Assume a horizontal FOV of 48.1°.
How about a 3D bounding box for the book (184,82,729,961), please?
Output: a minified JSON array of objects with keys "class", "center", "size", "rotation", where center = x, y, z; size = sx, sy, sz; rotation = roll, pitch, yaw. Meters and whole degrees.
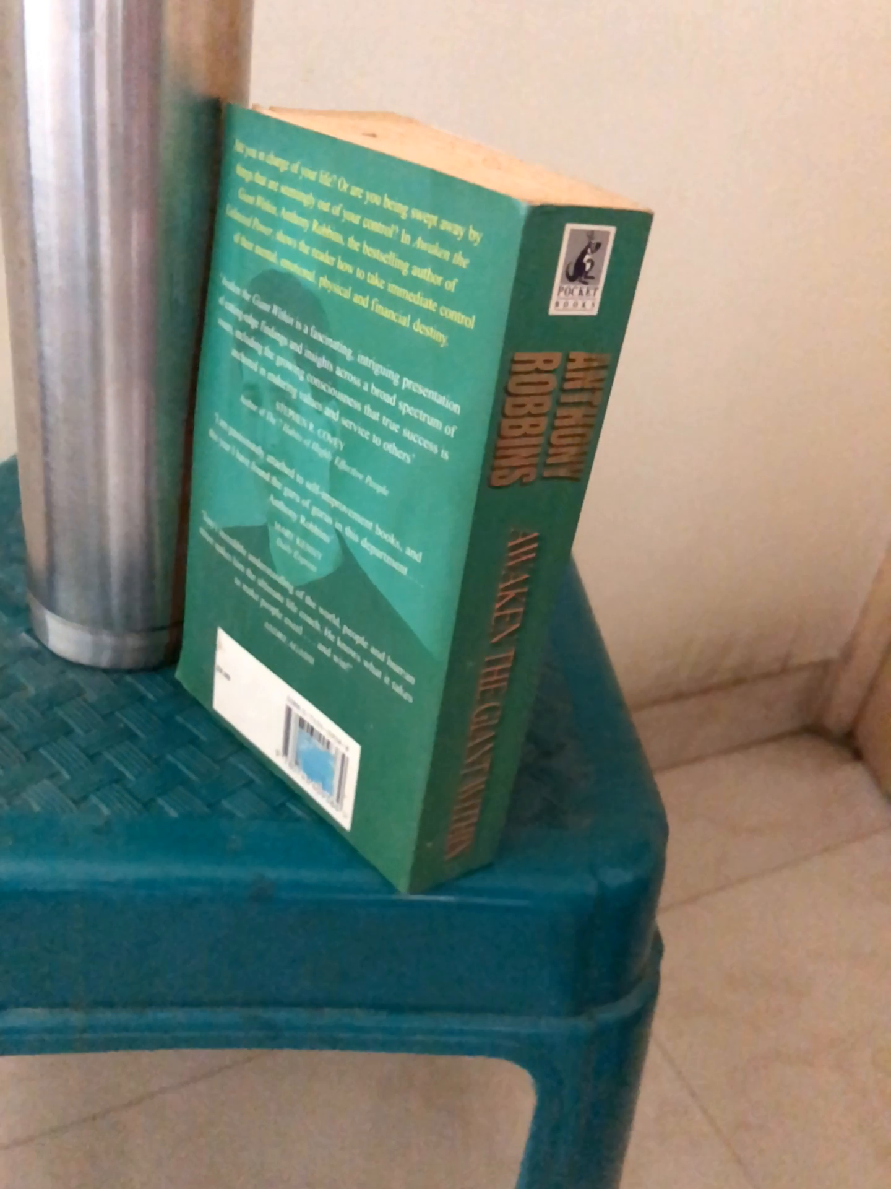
[{"class":"book","center":[-0.019,-0.021,0.285],"size":[0.050,0.199,0.140],"rotation":[-16,41,-35]}]
